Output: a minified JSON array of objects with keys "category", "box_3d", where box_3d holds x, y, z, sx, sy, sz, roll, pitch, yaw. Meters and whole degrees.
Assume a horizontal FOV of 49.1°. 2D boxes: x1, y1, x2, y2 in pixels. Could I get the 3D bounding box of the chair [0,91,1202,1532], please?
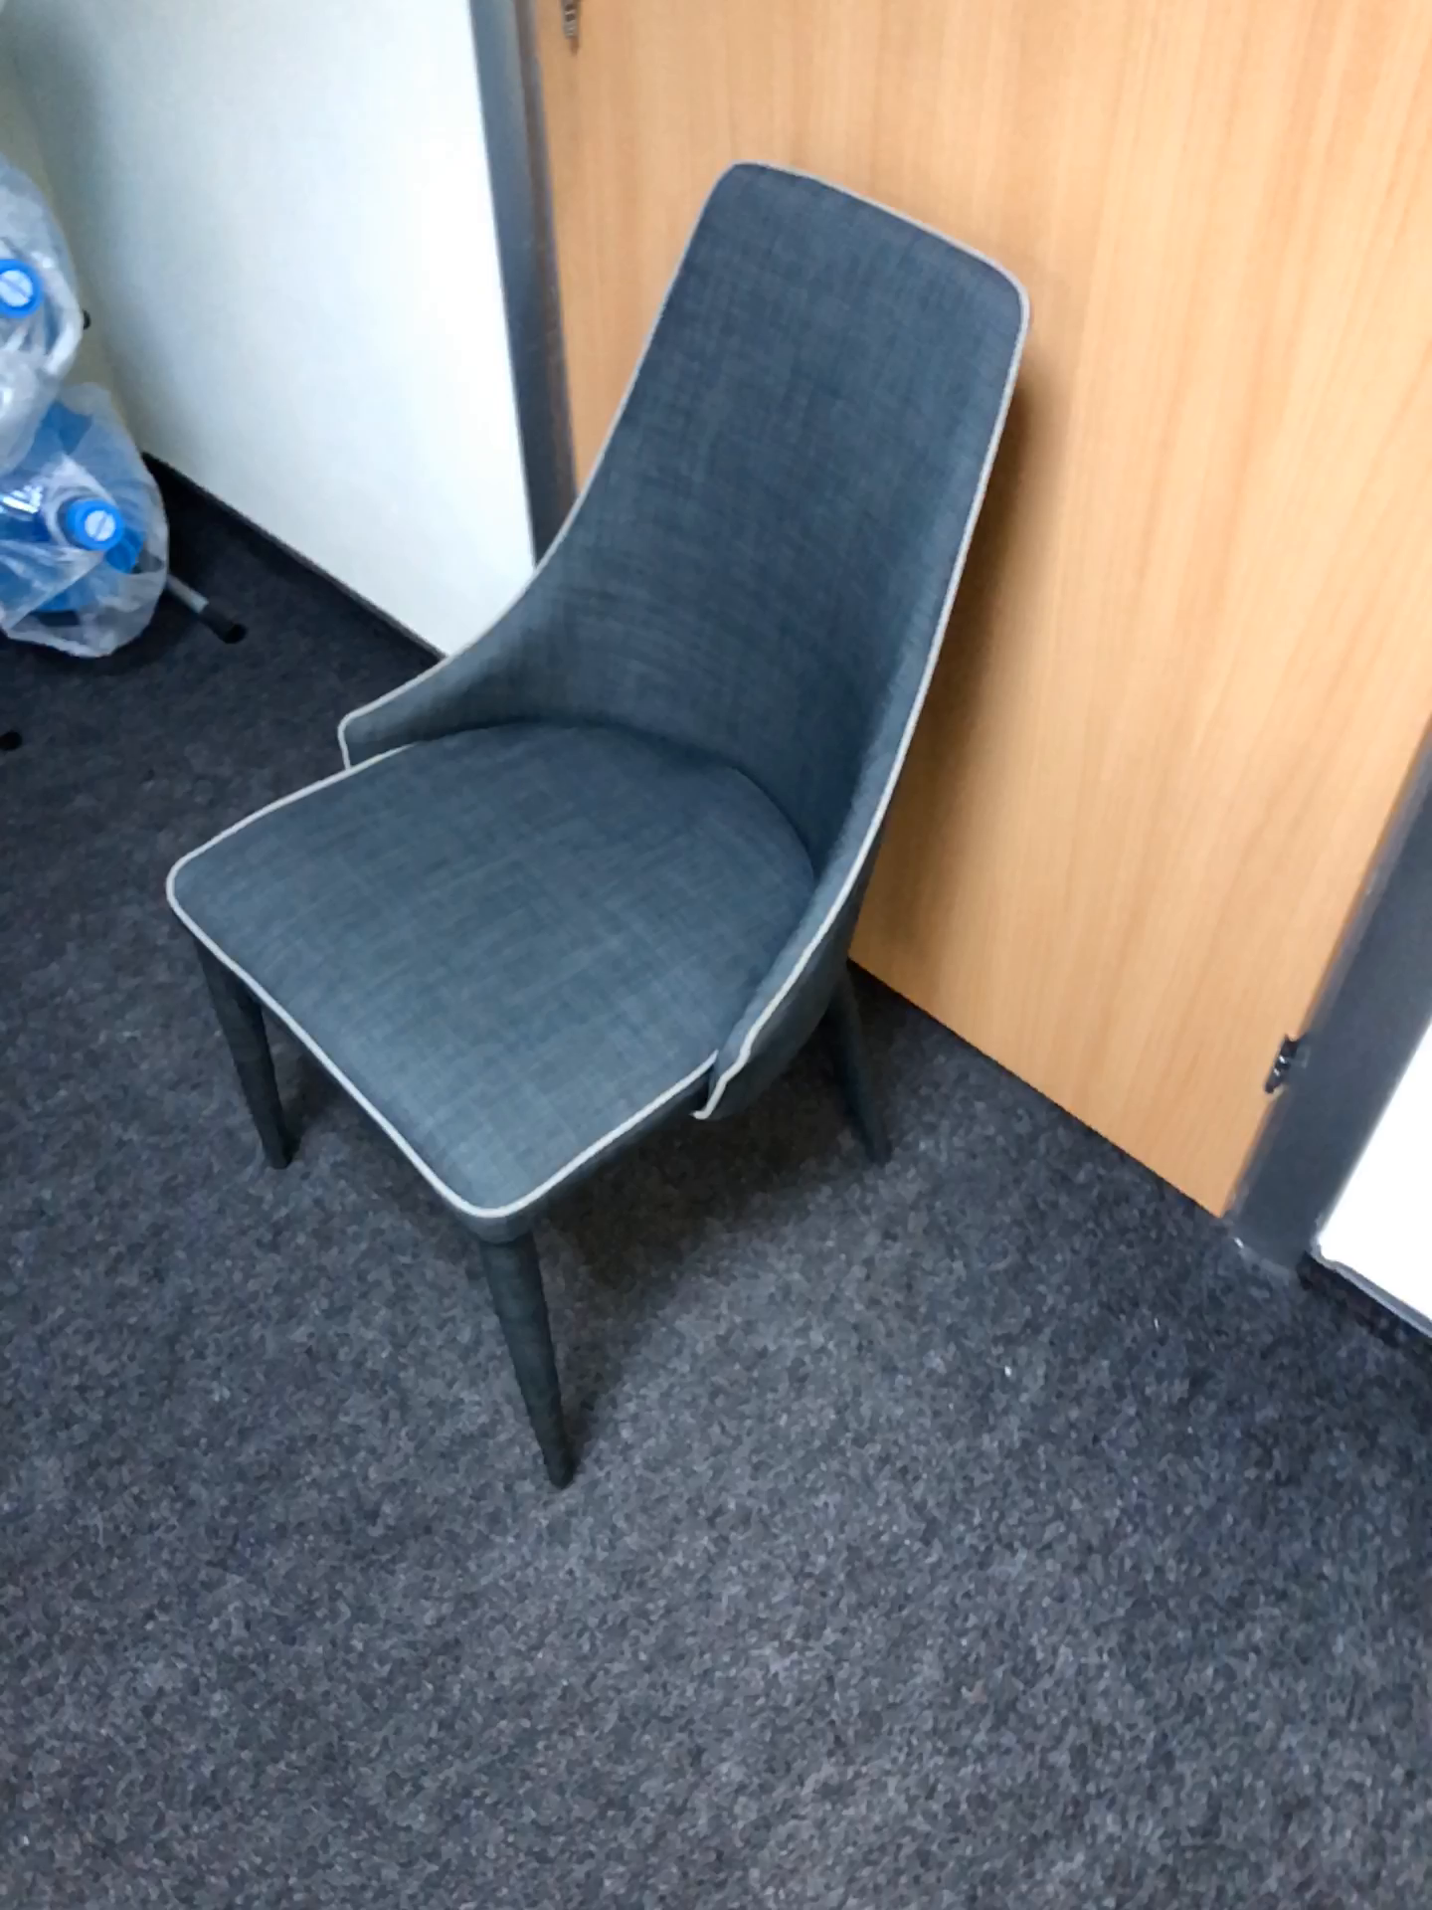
[{"category":"chair","box_3d":[-0.100,-0.099,1.289,0.642,0.845,0.522,-35,57,-27]}]
